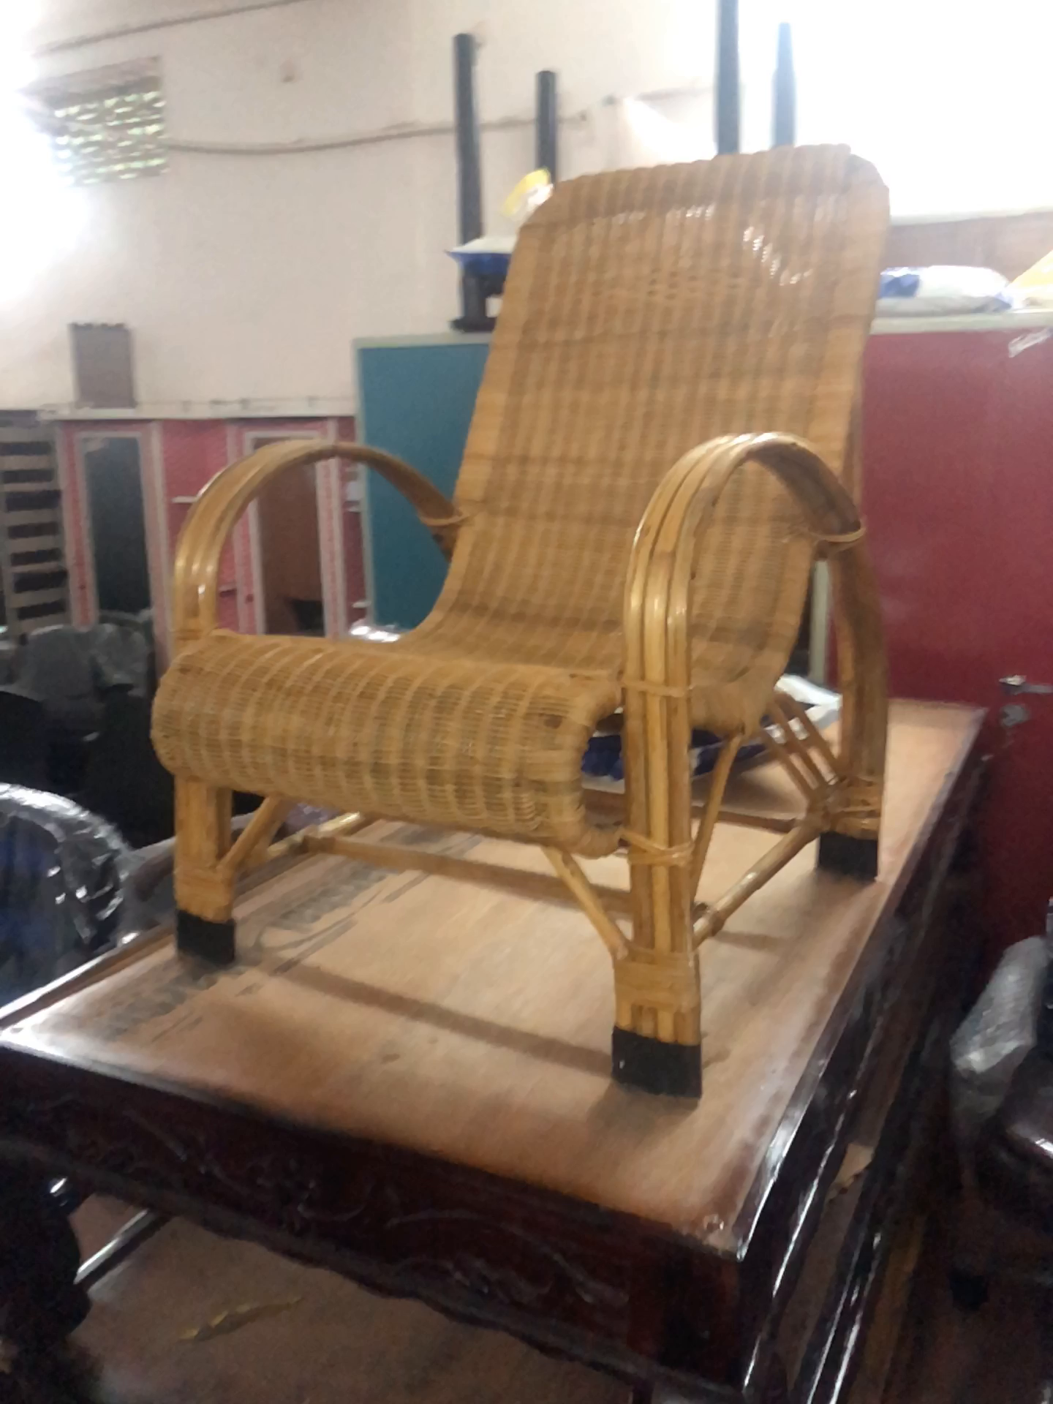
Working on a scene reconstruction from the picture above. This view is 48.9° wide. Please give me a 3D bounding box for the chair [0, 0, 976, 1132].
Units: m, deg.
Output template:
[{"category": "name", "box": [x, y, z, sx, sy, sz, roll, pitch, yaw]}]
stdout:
[{"category": "chair", "box": [0.029, -0.252, 1.390, 0.769, 0.997, 0.823, 6, 14, 29]}]
